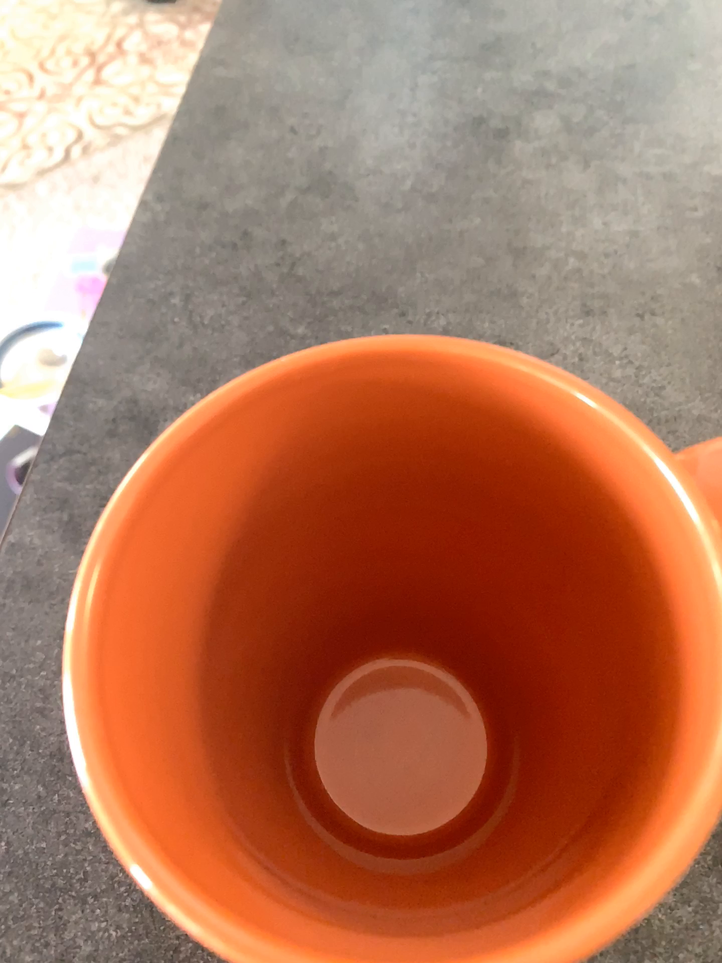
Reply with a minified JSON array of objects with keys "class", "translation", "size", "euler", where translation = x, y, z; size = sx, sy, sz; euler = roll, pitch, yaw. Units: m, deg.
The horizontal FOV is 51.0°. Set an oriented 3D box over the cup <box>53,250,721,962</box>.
[{"class":"cup","translation":[0.027,0.034,0.126],"size":[0.120,0.090,0.080],"euler":[-12,60,-3]}]
